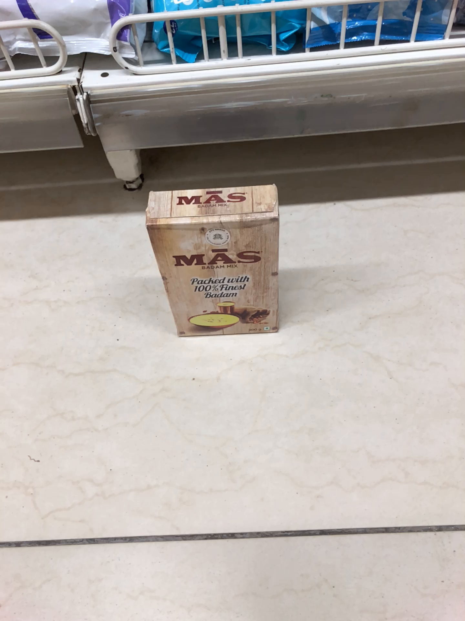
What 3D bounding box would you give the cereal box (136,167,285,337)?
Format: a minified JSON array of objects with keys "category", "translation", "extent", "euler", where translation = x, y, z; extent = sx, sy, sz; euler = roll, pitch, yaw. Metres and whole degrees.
[{"category":"cereal box","translation":[-0.009,-0.035,0.372],"extent":[0.090,0.129,0.040],"euler":[-3,54,3]}]
